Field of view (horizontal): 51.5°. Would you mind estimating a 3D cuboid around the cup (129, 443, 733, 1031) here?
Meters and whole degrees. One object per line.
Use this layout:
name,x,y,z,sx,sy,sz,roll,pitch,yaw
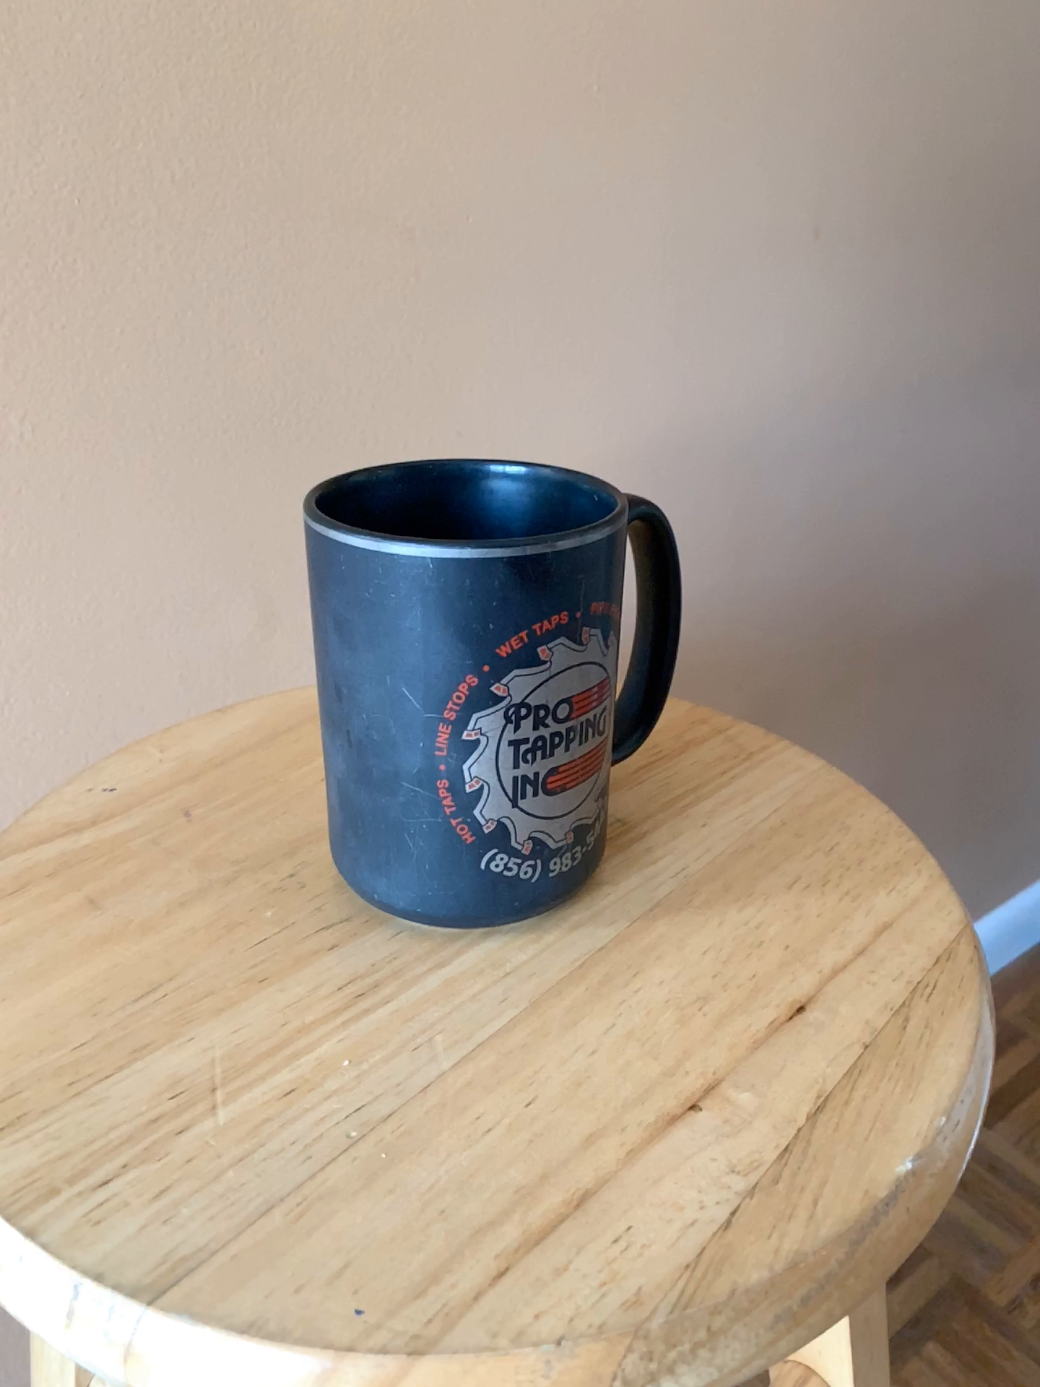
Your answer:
cup,-0.024,-0.002,0.342,0.140,0.119,0.110,-22,32,-40
